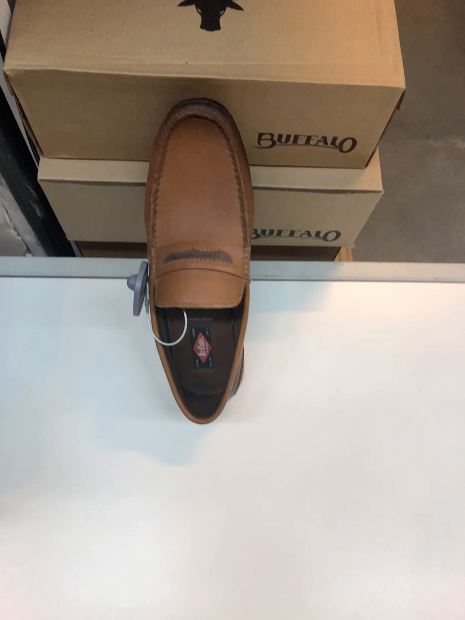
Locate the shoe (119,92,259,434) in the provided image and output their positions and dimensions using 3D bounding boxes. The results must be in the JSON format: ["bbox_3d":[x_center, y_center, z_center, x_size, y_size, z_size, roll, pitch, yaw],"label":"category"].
[{"bbox_3d":[-0.032,-0.040,0.477,0.103,0.103,0.293,1,111,0],"label":"shoe"}]
